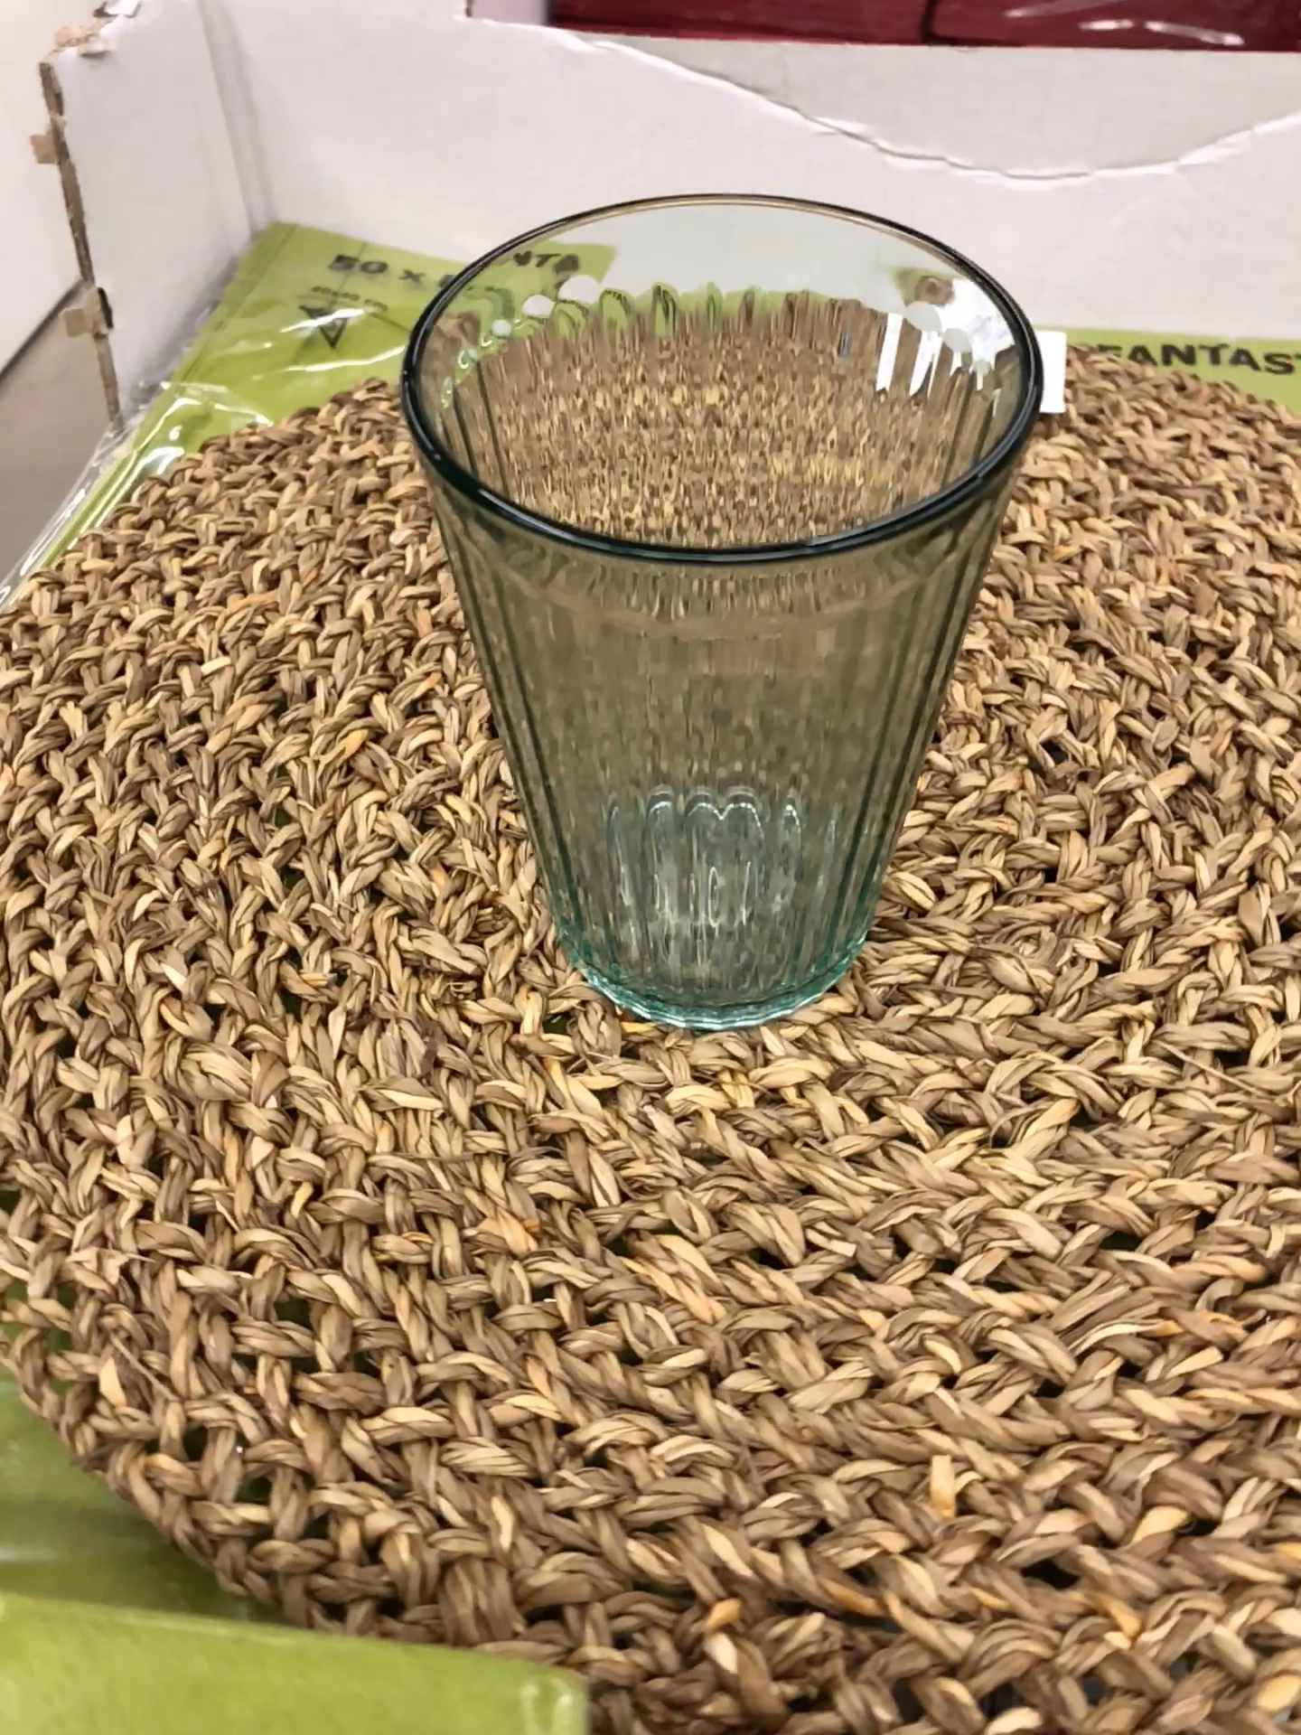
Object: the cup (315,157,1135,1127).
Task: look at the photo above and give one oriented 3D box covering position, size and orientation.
[{"bbox_3d":[0.004,-0.031,0.210,0.080,0.100,0.080,-1,47,1],"label":"cup"}]
